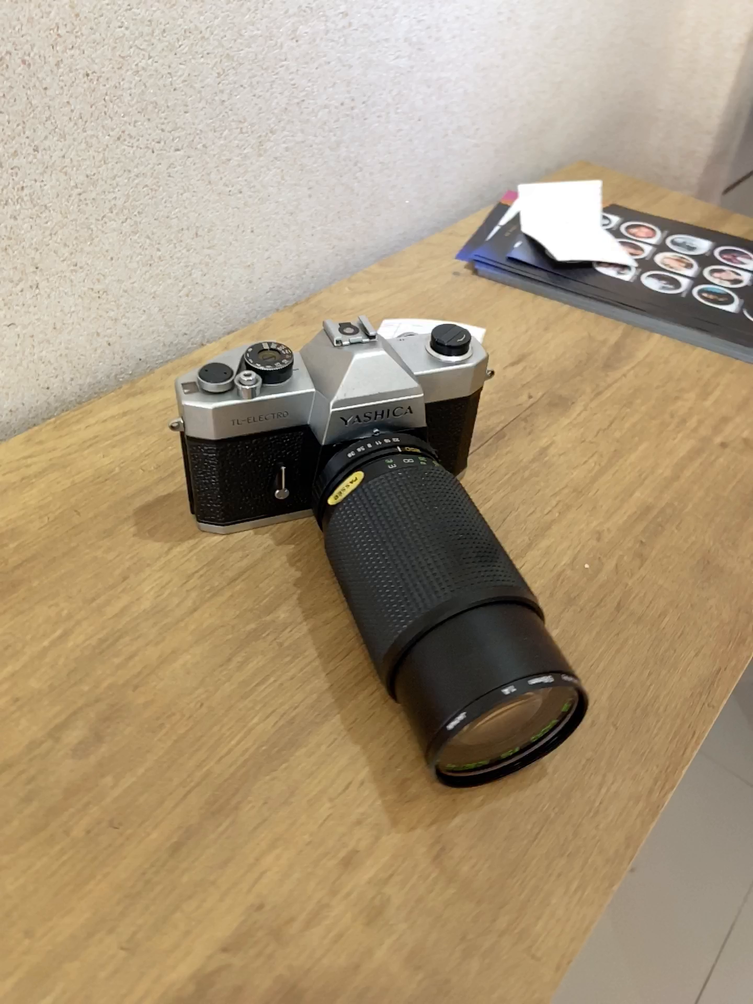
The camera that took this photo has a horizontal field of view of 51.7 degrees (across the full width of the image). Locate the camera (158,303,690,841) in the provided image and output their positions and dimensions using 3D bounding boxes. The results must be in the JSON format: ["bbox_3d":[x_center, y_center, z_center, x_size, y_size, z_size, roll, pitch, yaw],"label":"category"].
[{"bbox_3d":[-0.001,0.009,0.328,0.150,0.080,0.201,-9,45,-14],"label":"camera"}]
